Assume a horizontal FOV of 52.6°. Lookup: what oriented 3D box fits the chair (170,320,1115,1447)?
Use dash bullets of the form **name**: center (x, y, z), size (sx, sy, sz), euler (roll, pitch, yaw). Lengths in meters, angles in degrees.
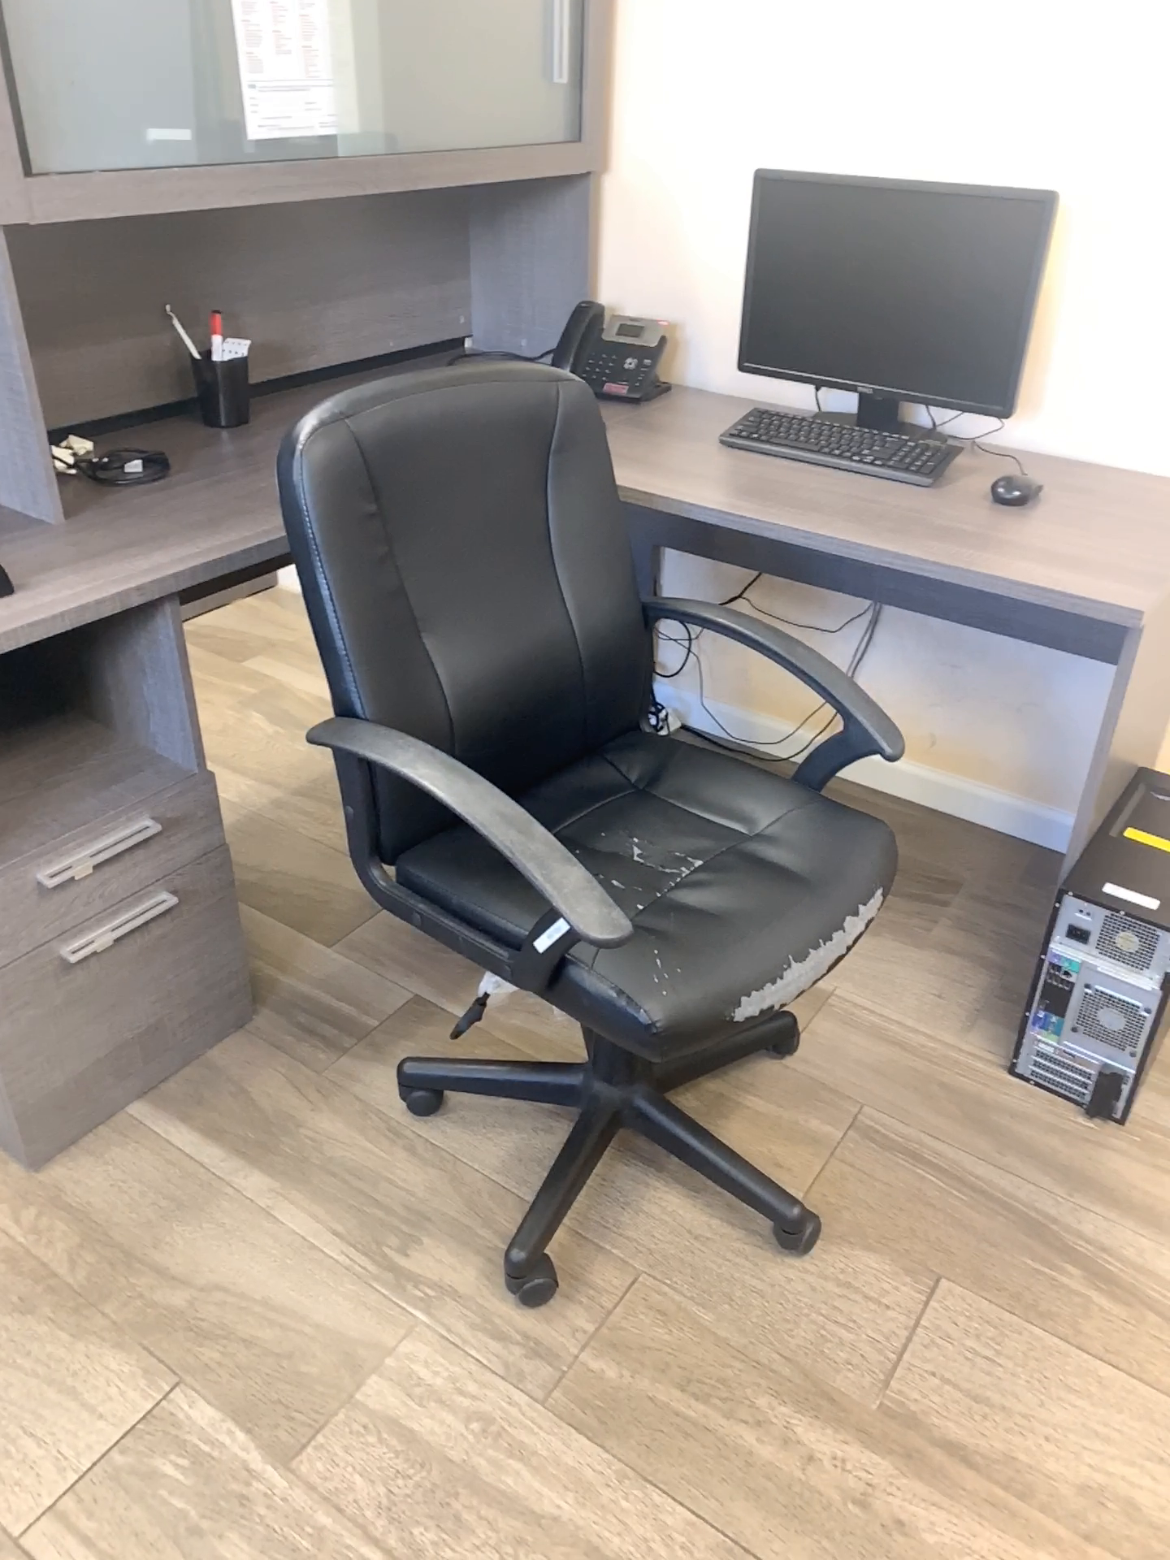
- **chair**: center (0.059, 0.052, 1.380), size (0.641, 0.945, 0.652), euler (25, 38, 33)
